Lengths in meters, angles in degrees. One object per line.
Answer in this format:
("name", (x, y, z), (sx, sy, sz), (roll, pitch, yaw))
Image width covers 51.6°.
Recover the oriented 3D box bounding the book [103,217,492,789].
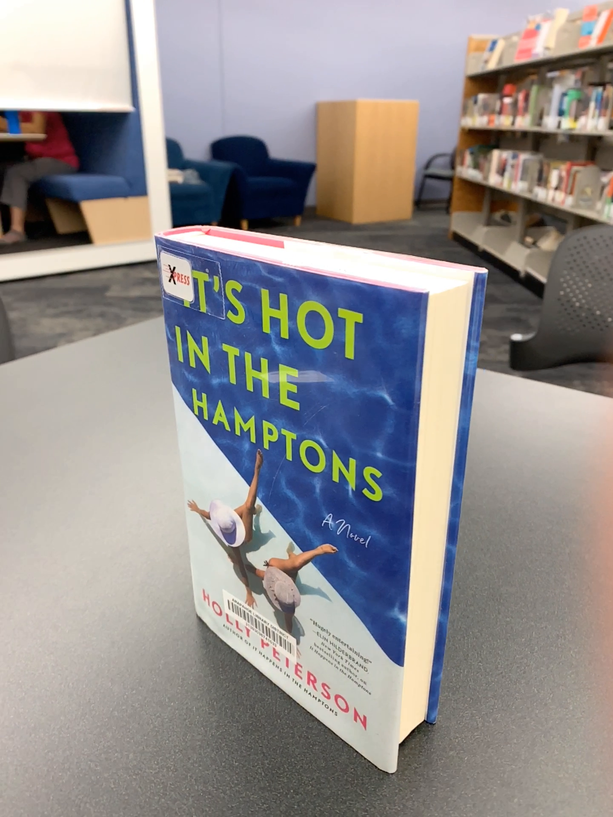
("book", (-0.014, 0.034, 0.301), (0.170, 0.219, 0.050), (22, 33, 39))
